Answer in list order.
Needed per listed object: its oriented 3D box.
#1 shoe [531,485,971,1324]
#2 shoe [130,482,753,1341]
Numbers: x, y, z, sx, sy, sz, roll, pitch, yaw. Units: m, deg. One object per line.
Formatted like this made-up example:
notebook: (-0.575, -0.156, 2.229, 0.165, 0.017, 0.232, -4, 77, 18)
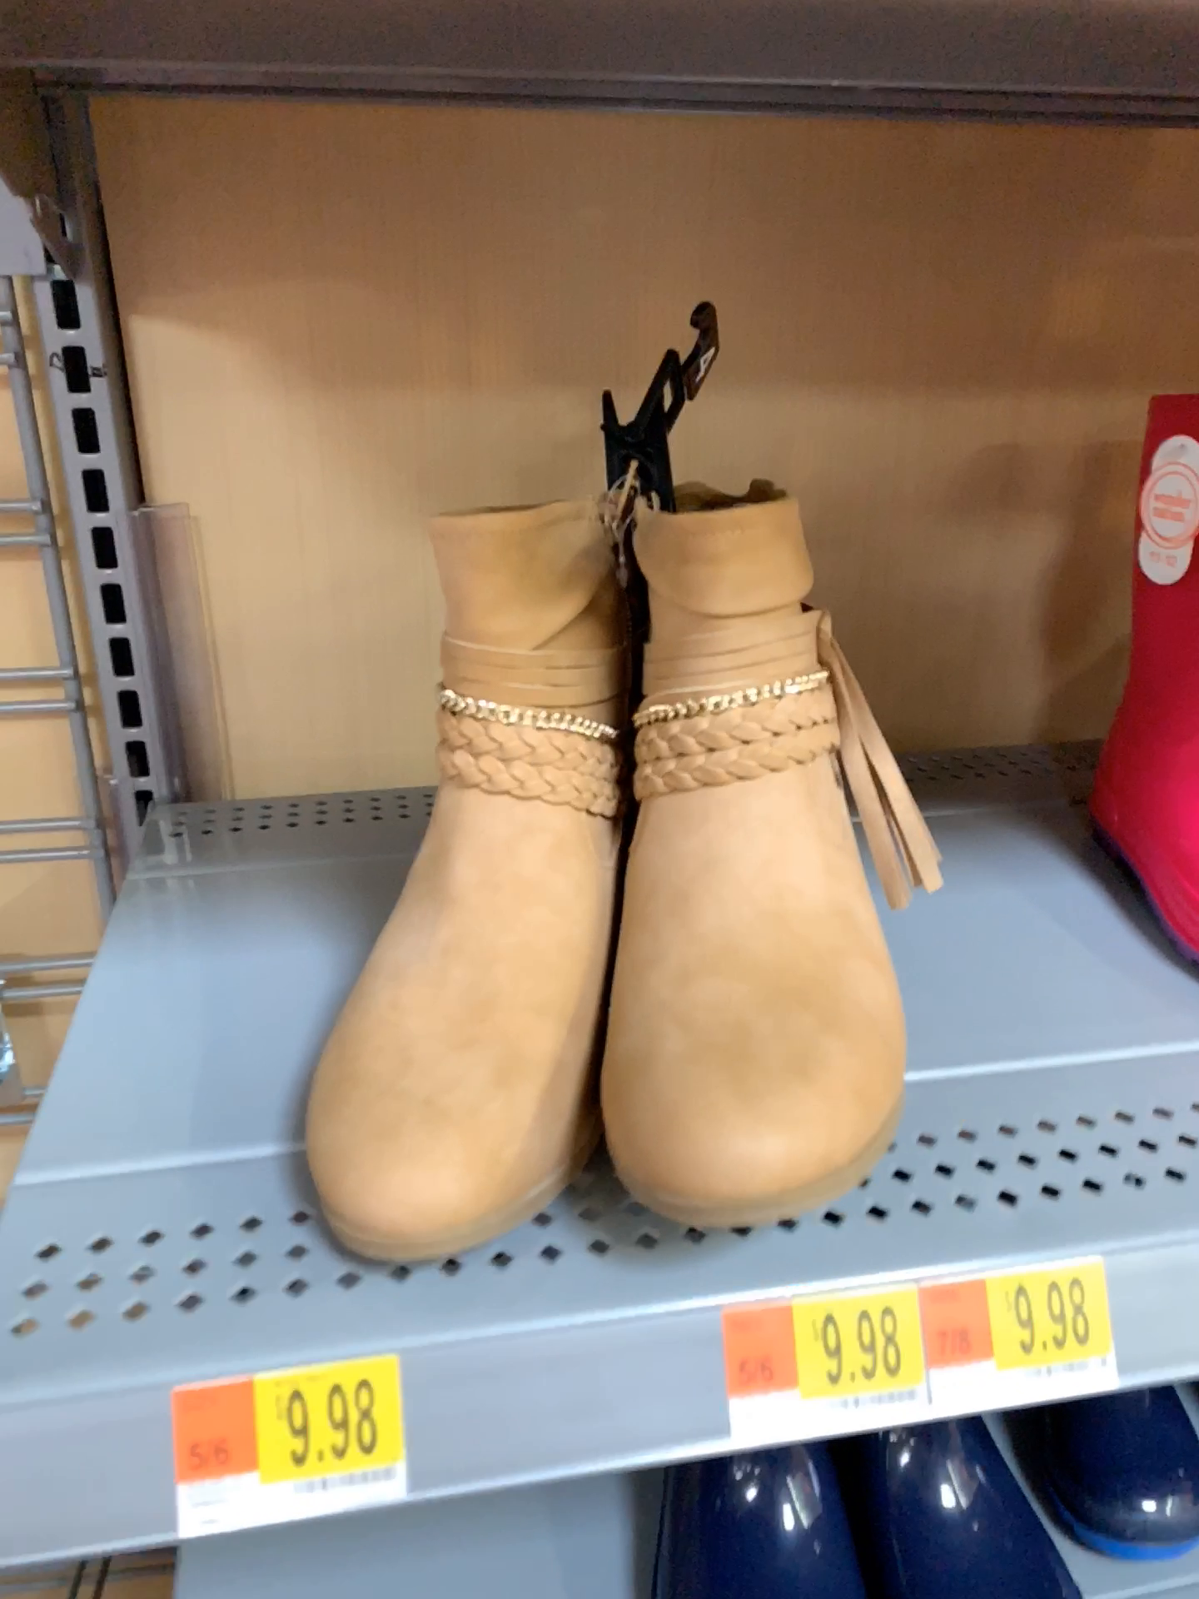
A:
shoe: (0.041, 0.003, 0.368, 0.083, 0.154, 0.239, 3, 23, 6)
shoe: (-0.022, 0.006, 0.362, 0.088, 0.161, 0.218, 7, 24, 16)
